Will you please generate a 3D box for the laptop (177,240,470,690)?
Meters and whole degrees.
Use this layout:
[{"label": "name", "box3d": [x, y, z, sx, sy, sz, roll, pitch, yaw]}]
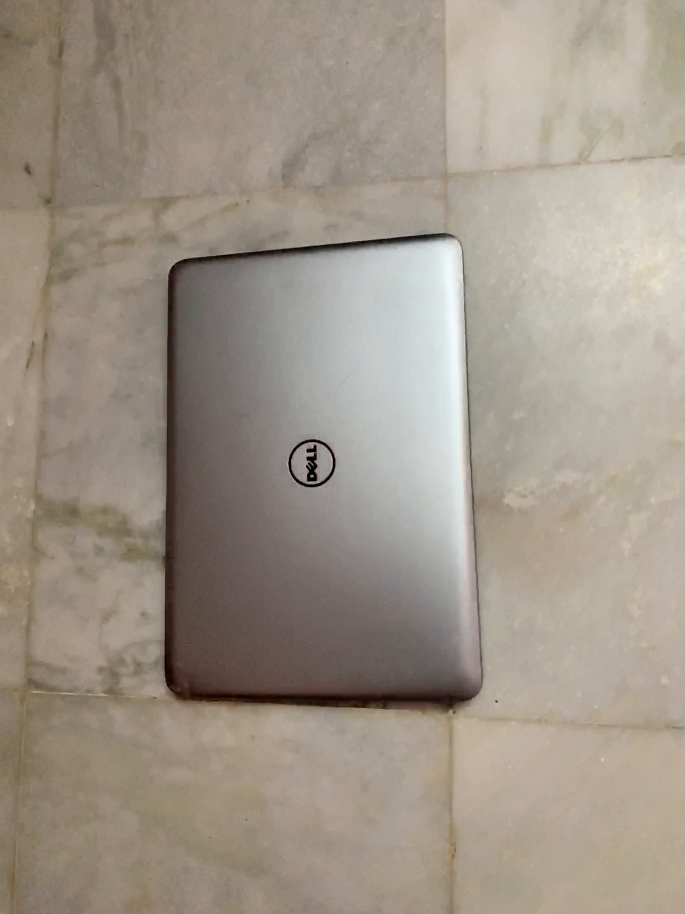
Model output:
[{"label": "laptop", "box3d": [-0.023, 0.006, 0.562, 0.234, 0.001, 0.351, -2, 84, 10]}]
